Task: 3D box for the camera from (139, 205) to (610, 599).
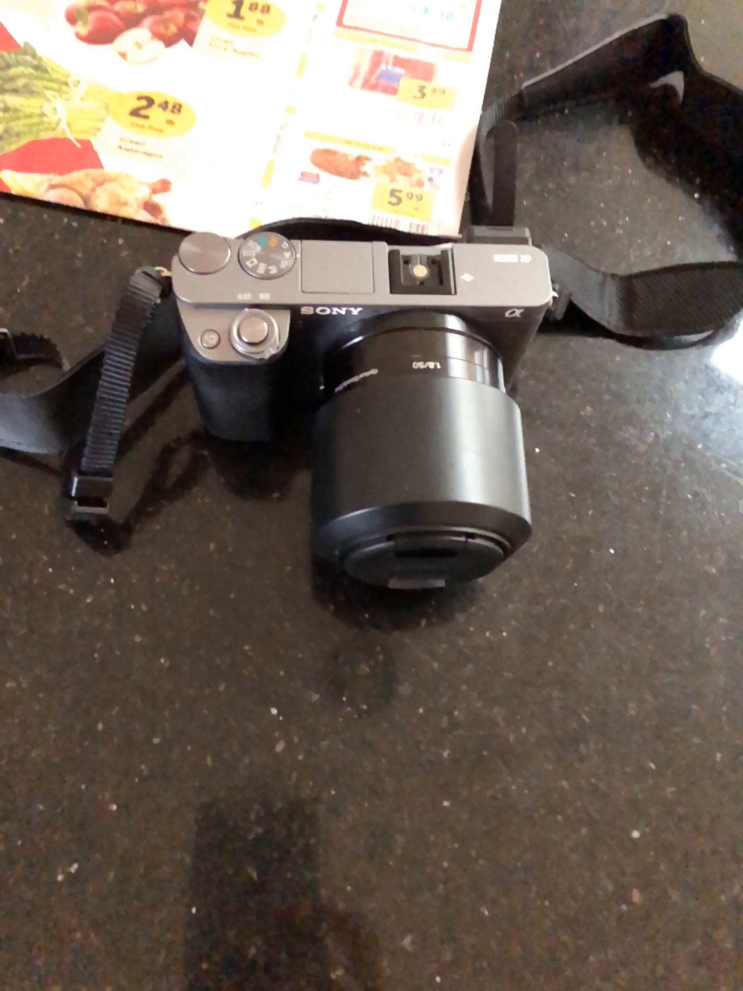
[{"bbox_3d":[-0.002,-0.029,0.278,0.130,0.070,0.110,0,69,-5],"label":"camera"}]
